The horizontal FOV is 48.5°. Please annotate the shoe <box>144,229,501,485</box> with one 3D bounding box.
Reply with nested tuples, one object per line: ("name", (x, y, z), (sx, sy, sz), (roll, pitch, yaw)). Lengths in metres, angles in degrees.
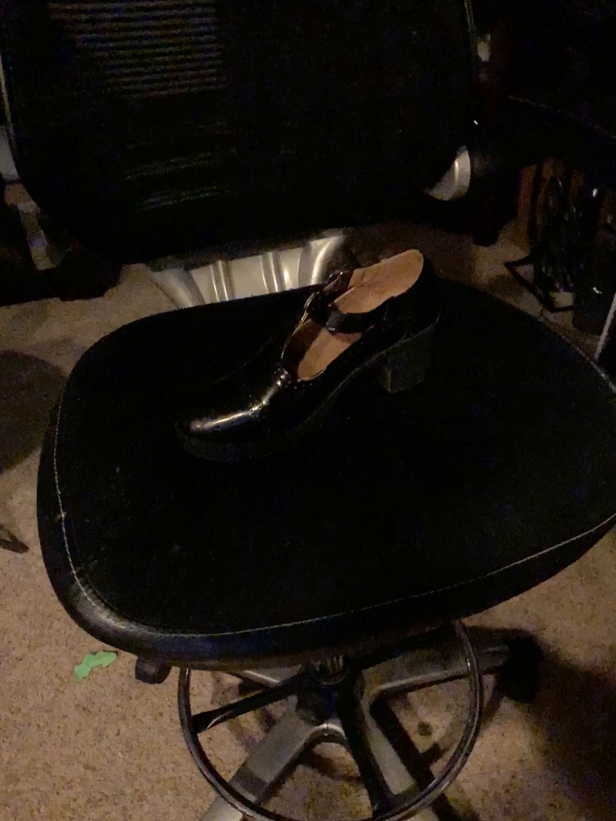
("shoe", (0.017, -0.056, 0.582), (0.270, 0.100, 0.110), (-22, 40, -21))
